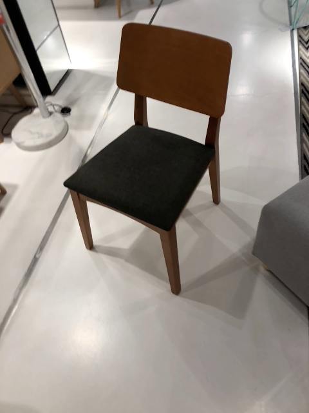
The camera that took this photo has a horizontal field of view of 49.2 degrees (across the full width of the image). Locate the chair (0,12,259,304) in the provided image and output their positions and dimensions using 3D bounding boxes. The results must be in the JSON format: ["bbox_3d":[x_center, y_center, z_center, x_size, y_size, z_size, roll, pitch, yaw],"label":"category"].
[{"bbox_3d":[-0.015,-0.166,1.293,0.531,0.805,0.583,23,57,25],"label":"chair"}]
